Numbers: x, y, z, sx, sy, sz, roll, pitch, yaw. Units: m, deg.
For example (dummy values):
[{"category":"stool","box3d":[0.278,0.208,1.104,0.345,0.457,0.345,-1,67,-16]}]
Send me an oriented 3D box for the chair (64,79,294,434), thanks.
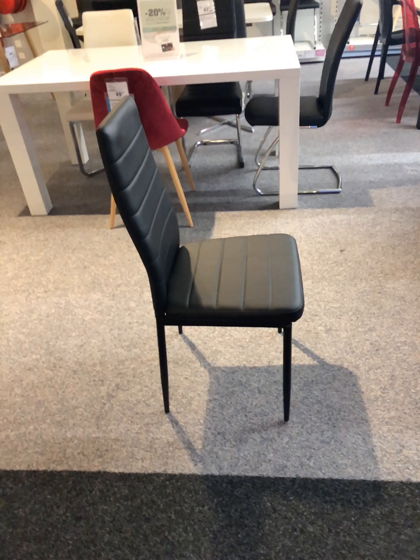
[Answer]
[{"category":"chair","box3d":[-0.009,-0.039,1.382,0.470,0.934,0.473,0,36,7]}]
